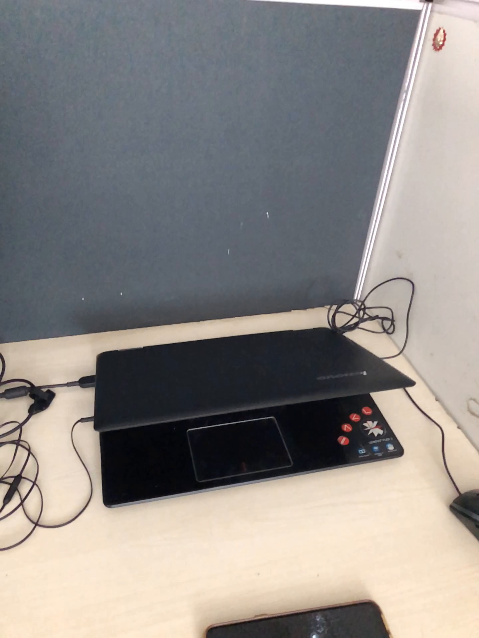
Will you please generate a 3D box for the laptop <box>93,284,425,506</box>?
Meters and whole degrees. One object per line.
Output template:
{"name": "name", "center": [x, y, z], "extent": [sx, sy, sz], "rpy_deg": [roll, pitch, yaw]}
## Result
{"name": "laptop", "center": [0.004, 0.068, 0.611], "extent": [0.326, 0.083, 0.220], "rpy_deg": [-6, 37, -13]}
